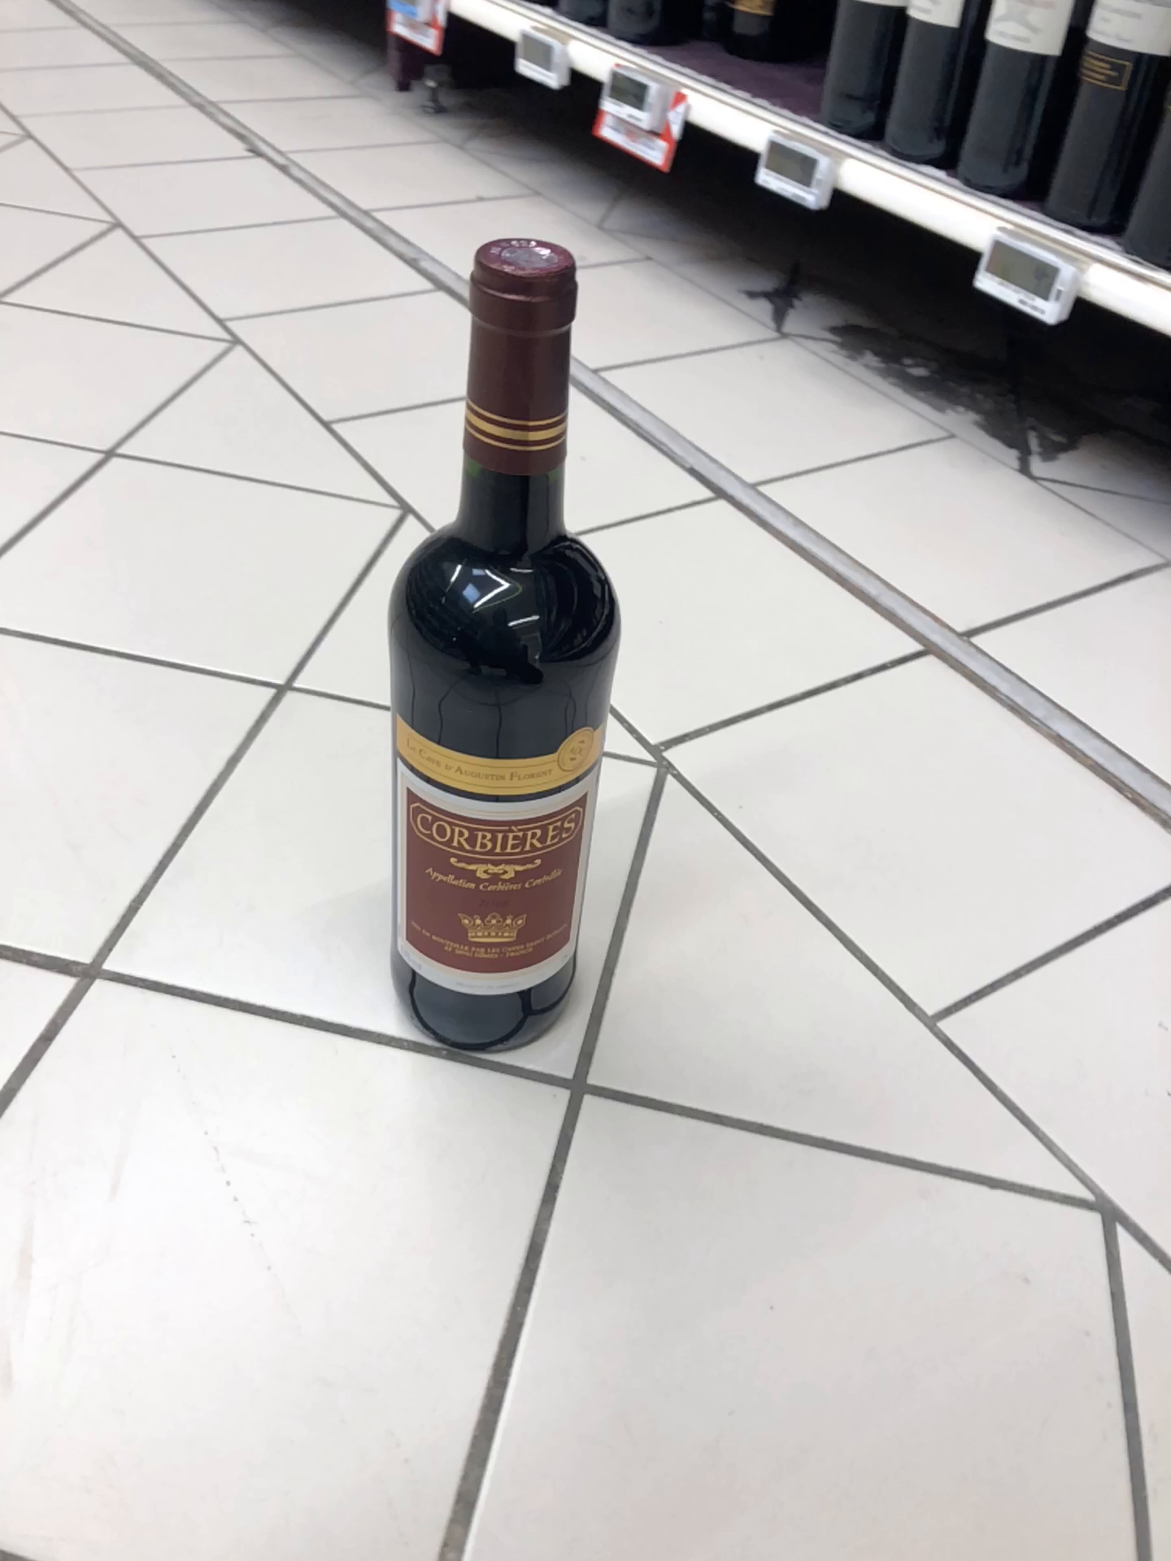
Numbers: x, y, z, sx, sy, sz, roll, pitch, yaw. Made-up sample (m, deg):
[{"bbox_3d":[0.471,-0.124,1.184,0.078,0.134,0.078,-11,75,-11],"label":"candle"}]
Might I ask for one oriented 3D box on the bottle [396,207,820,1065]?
[{"bbox_3d":[-0.011,-0.032,0.430,0.100,0.268,0.100,4,40,-3],"label":"bottle"}]
